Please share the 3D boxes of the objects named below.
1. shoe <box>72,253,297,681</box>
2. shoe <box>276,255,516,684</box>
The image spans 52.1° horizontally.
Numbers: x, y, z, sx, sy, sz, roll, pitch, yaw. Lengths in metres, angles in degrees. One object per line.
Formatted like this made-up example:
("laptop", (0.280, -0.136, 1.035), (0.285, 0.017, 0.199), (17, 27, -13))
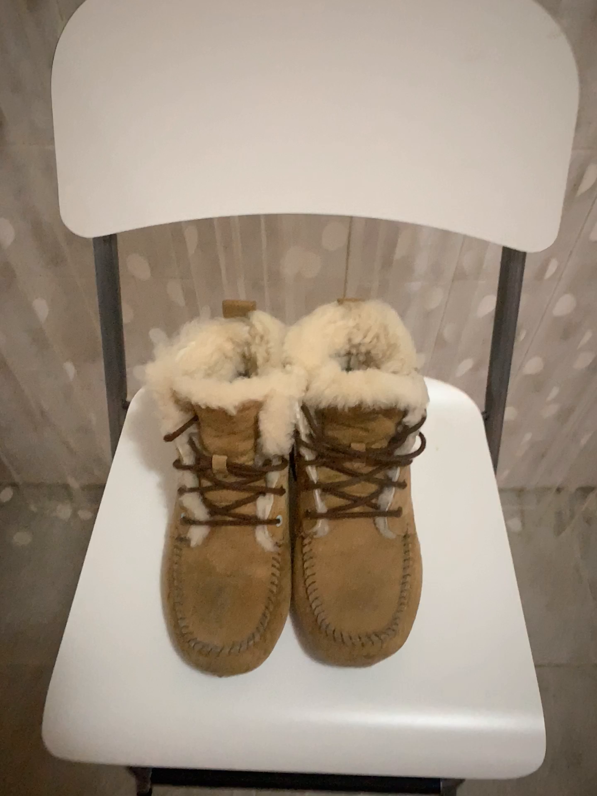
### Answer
("shoe", (-0.056, 0.043, 0.427), (0.106, 0.156, 0.252), (0, 53, -1))
("shoe", (0.044, 0.045, 0.426), (0.113, 0.157, 0.252), (0, 53, -1))
